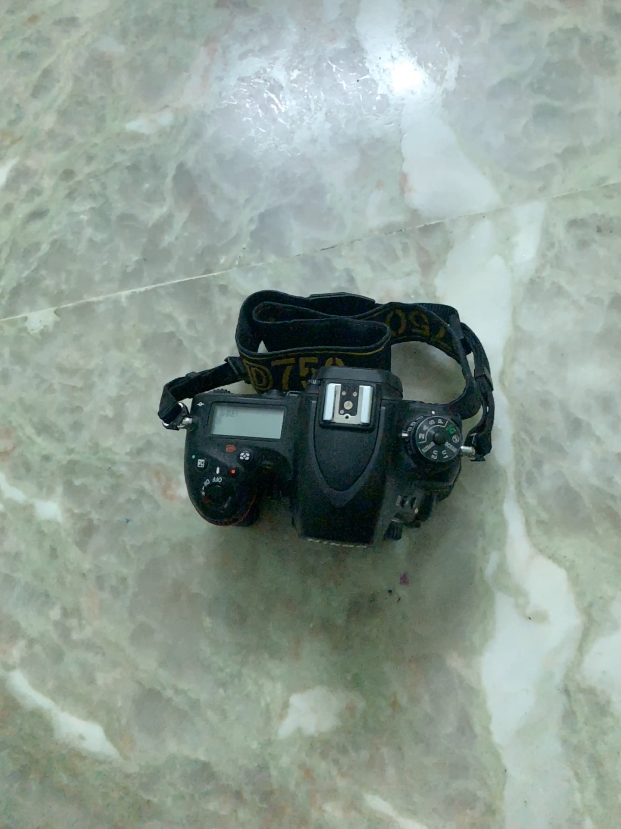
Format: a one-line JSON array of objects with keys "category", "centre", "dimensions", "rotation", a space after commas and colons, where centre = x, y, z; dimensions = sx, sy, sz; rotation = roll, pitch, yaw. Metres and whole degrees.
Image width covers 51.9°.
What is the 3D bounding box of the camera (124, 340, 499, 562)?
[{"category": "camera", "centre": [0.006, 0.023, 0.314], "dimensions": [0.150, 0.100, 0.080], "rotation": [4, 77, 8]}]
